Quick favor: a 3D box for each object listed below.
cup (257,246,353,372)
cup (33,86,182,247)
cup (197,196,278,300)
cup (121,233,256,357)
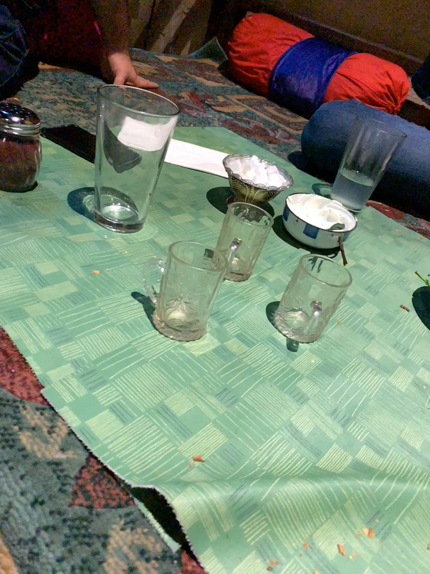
[{"bbox_3d":[0.091,0.018,0.434,0.060,0.070,0.090,23,34,6],"label":"cup"},{"bbox_3d":[-0.125,-0.140,0.499,0.110,0.129,0.100,13,35,-9],"label":"cup"},{"bbox_3d":[0.026,-0.044,0.471,0.060,0.060,0.091,19,34,-1],"label":"cup"},{"bbox_3d":[-0.023,0.003,0.375,0.080,0.050,0.070,35,37,22],"label":"cup"}]
